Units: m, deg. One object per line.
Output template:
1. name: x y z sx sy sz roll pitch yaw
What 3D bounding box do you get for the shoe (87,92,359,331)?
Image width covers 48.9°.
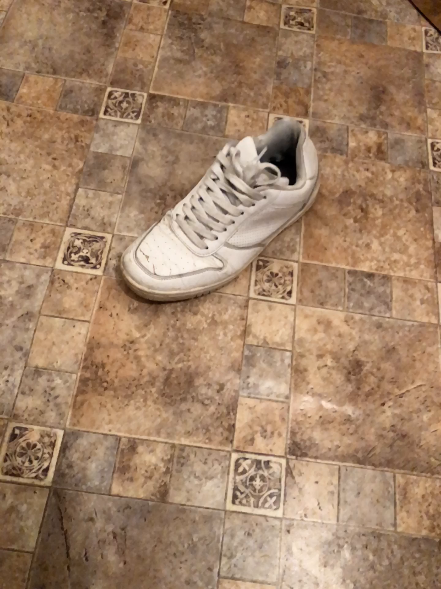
1. shoe: 0.006 -0.101 0.576 0.281 0.110 0.122 -35 74 -18
